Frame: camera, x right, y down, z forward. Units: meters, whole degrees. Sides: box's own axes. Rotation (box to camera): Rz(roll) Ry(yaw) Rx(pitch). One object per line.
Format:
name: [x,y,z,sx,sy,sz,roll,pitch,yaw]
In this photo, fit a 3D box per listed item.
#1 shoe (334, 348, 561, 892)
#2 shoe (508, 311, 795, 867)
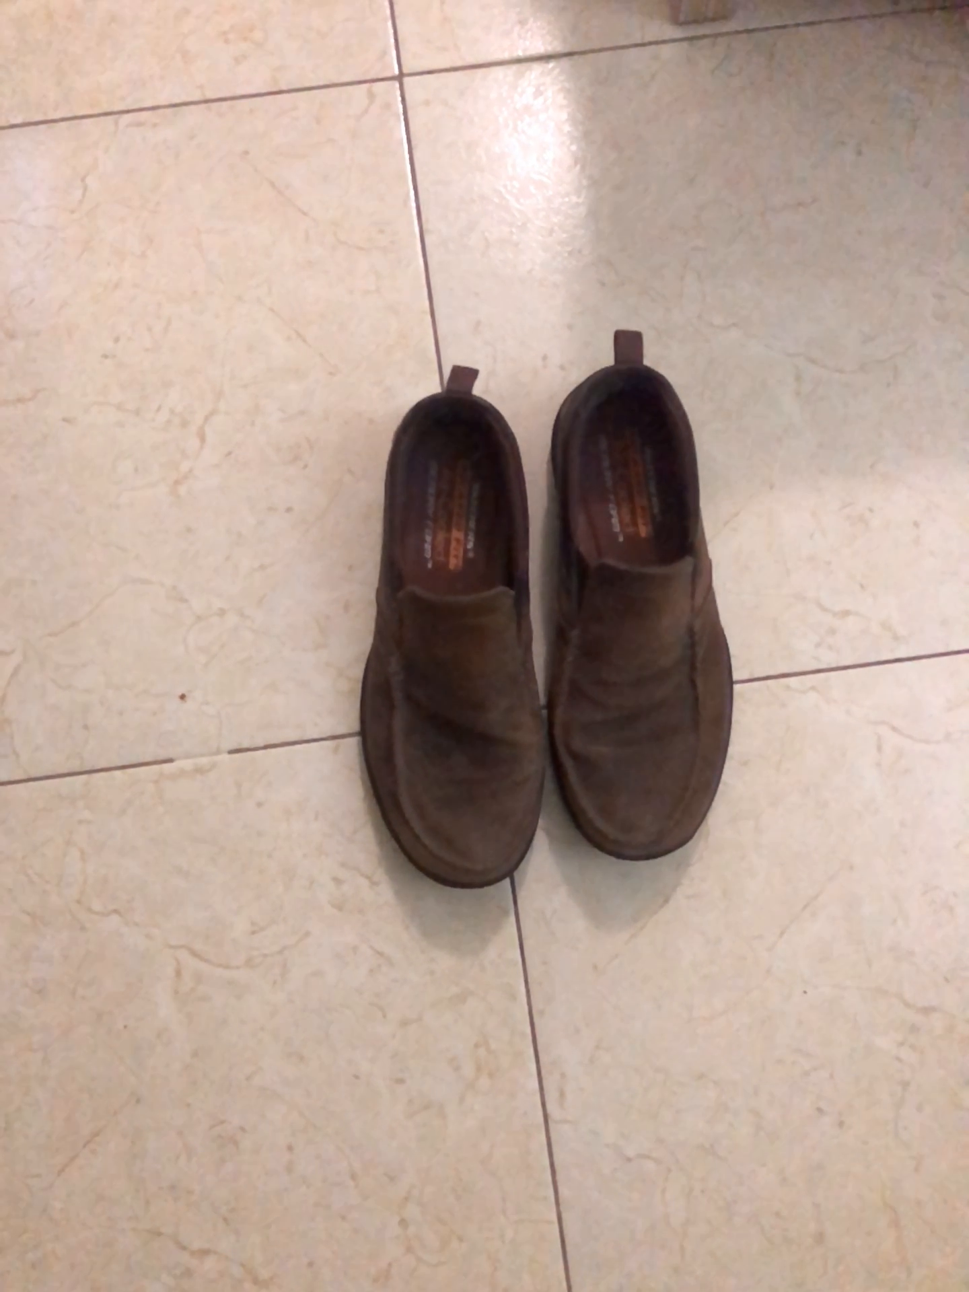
shoe: [-0.022,-0.012,0.637,0.120,0.100,0.300,-1,82,0]
shoe: [0.089,-0.029,0.631,0.130,0.100,0.300,-3,82,0]
